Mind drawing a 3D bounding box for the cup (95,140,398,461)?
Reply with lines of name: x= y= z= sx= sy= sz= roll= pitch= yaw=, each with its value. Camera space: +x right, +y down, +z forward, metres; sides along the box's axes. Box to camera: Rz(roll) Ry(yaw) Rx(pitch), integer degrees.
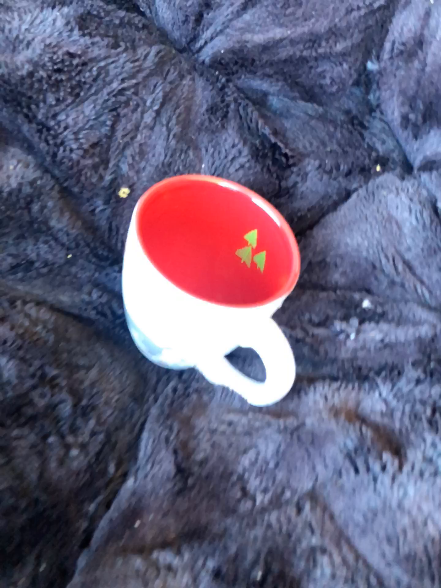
cup: x=0.004 y=0.002 z=0.309 sx=0.100 sy=0.110 sz=0.140 roll=-29 pitch=68 yaw=-31
